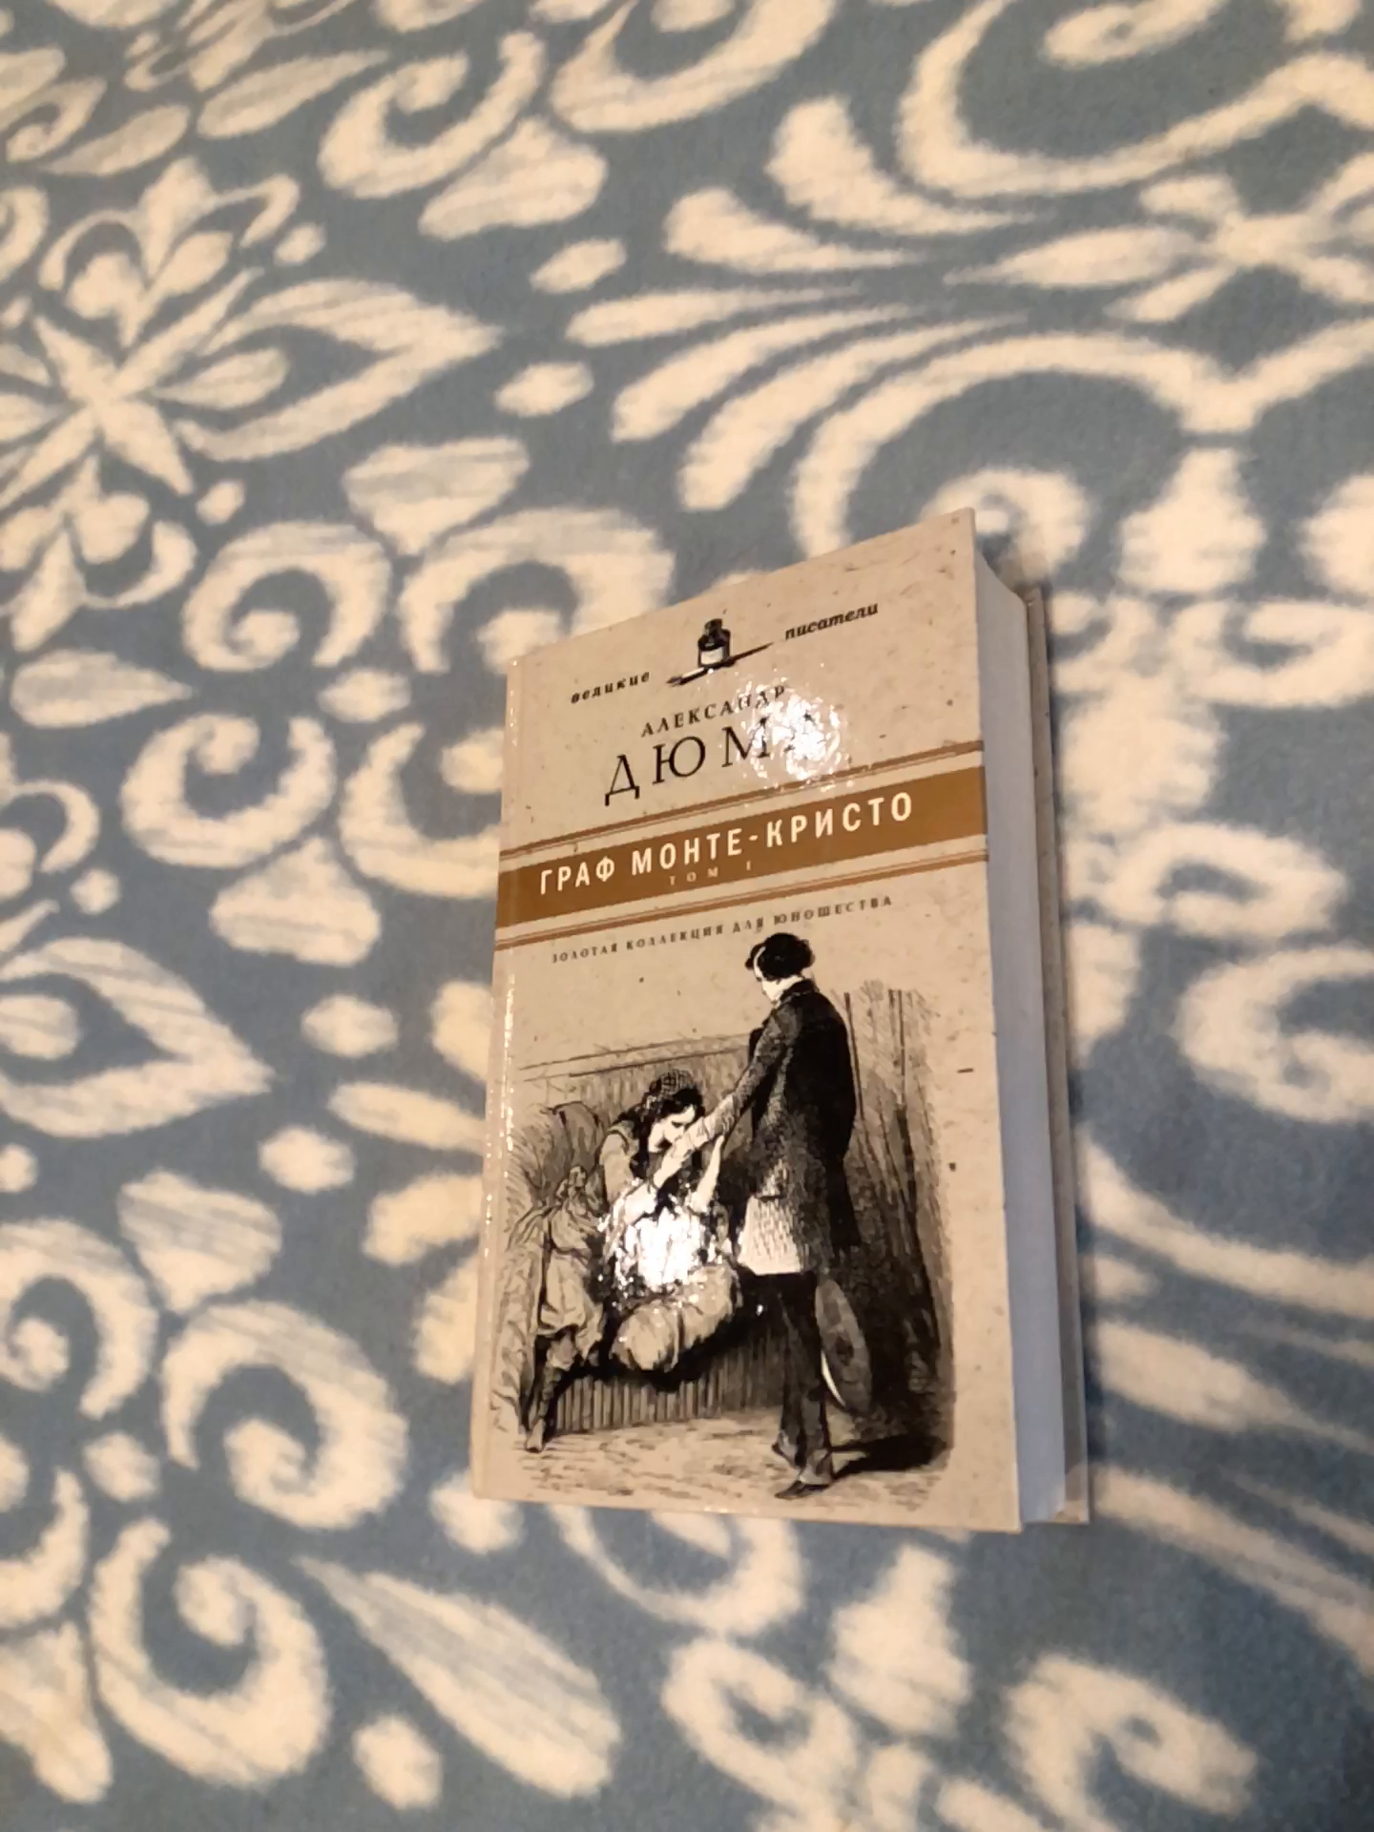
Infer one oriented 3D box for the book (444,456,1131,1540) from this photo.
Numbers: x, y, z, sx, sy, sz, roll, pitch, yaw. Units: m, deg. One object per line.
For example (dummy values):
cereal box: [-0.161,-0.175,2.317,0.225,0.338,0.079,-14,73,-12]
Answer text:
book: [0.017,0.020,0.338,0.138,0.040,0.212,-11,69,33]
